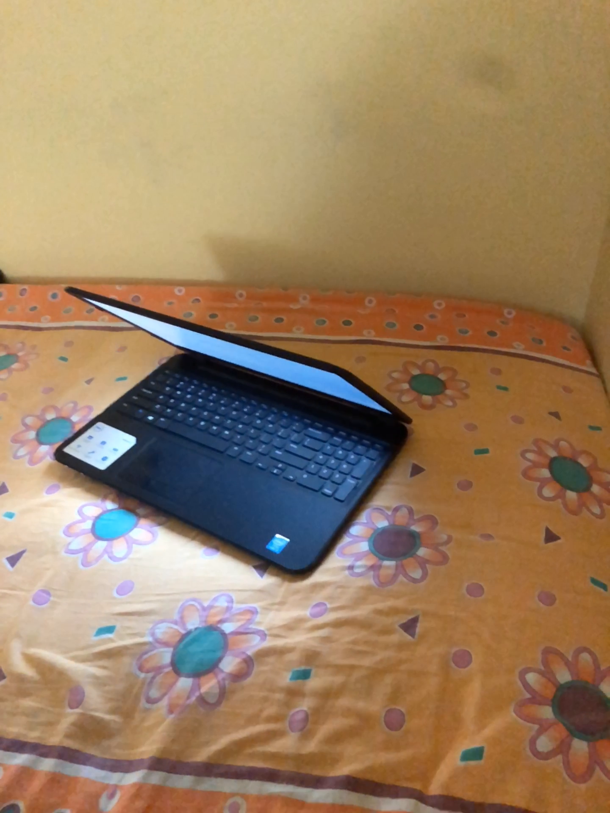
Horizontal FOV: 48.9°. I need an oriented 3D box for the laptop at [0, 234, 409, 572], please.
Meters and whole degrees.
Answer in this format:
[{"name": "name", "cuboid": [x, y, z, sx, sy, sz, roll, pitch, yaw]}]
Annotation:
[{"name": "laptop", "cuboid": [-0.102, -0.029, 0.760, 0.367, 0.190, 0.238, 18, 45, 27]}]
